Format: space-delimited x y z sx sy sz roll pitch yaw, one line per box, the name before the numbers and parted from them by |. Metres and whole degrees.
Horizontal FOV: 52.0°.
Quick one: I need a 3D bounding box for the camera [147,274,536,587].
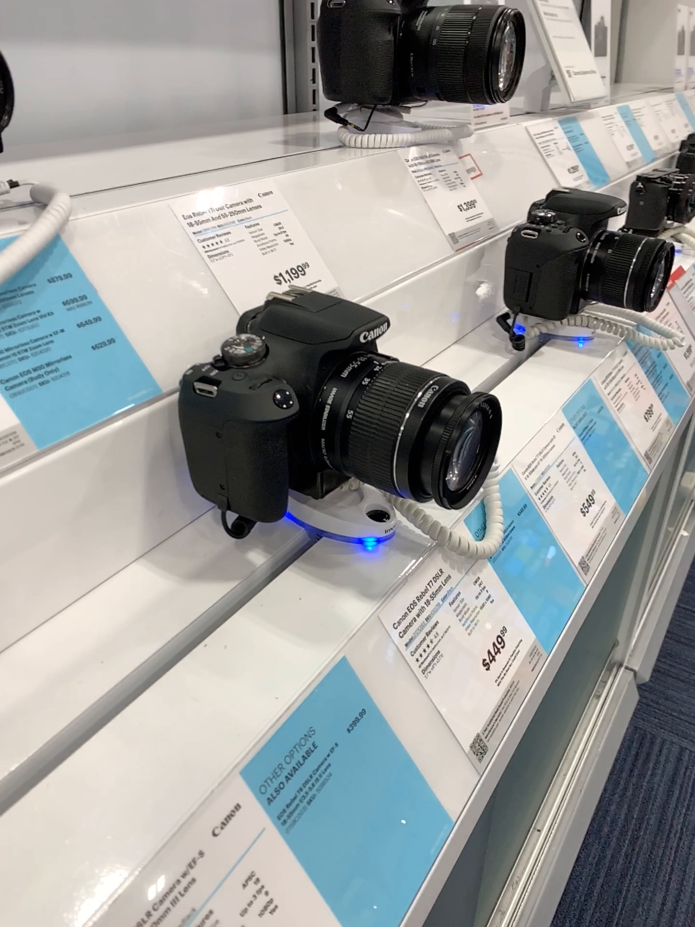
camera | 0.002 -0.030 0.378 0.150 0.090 0.130 16 34 25
